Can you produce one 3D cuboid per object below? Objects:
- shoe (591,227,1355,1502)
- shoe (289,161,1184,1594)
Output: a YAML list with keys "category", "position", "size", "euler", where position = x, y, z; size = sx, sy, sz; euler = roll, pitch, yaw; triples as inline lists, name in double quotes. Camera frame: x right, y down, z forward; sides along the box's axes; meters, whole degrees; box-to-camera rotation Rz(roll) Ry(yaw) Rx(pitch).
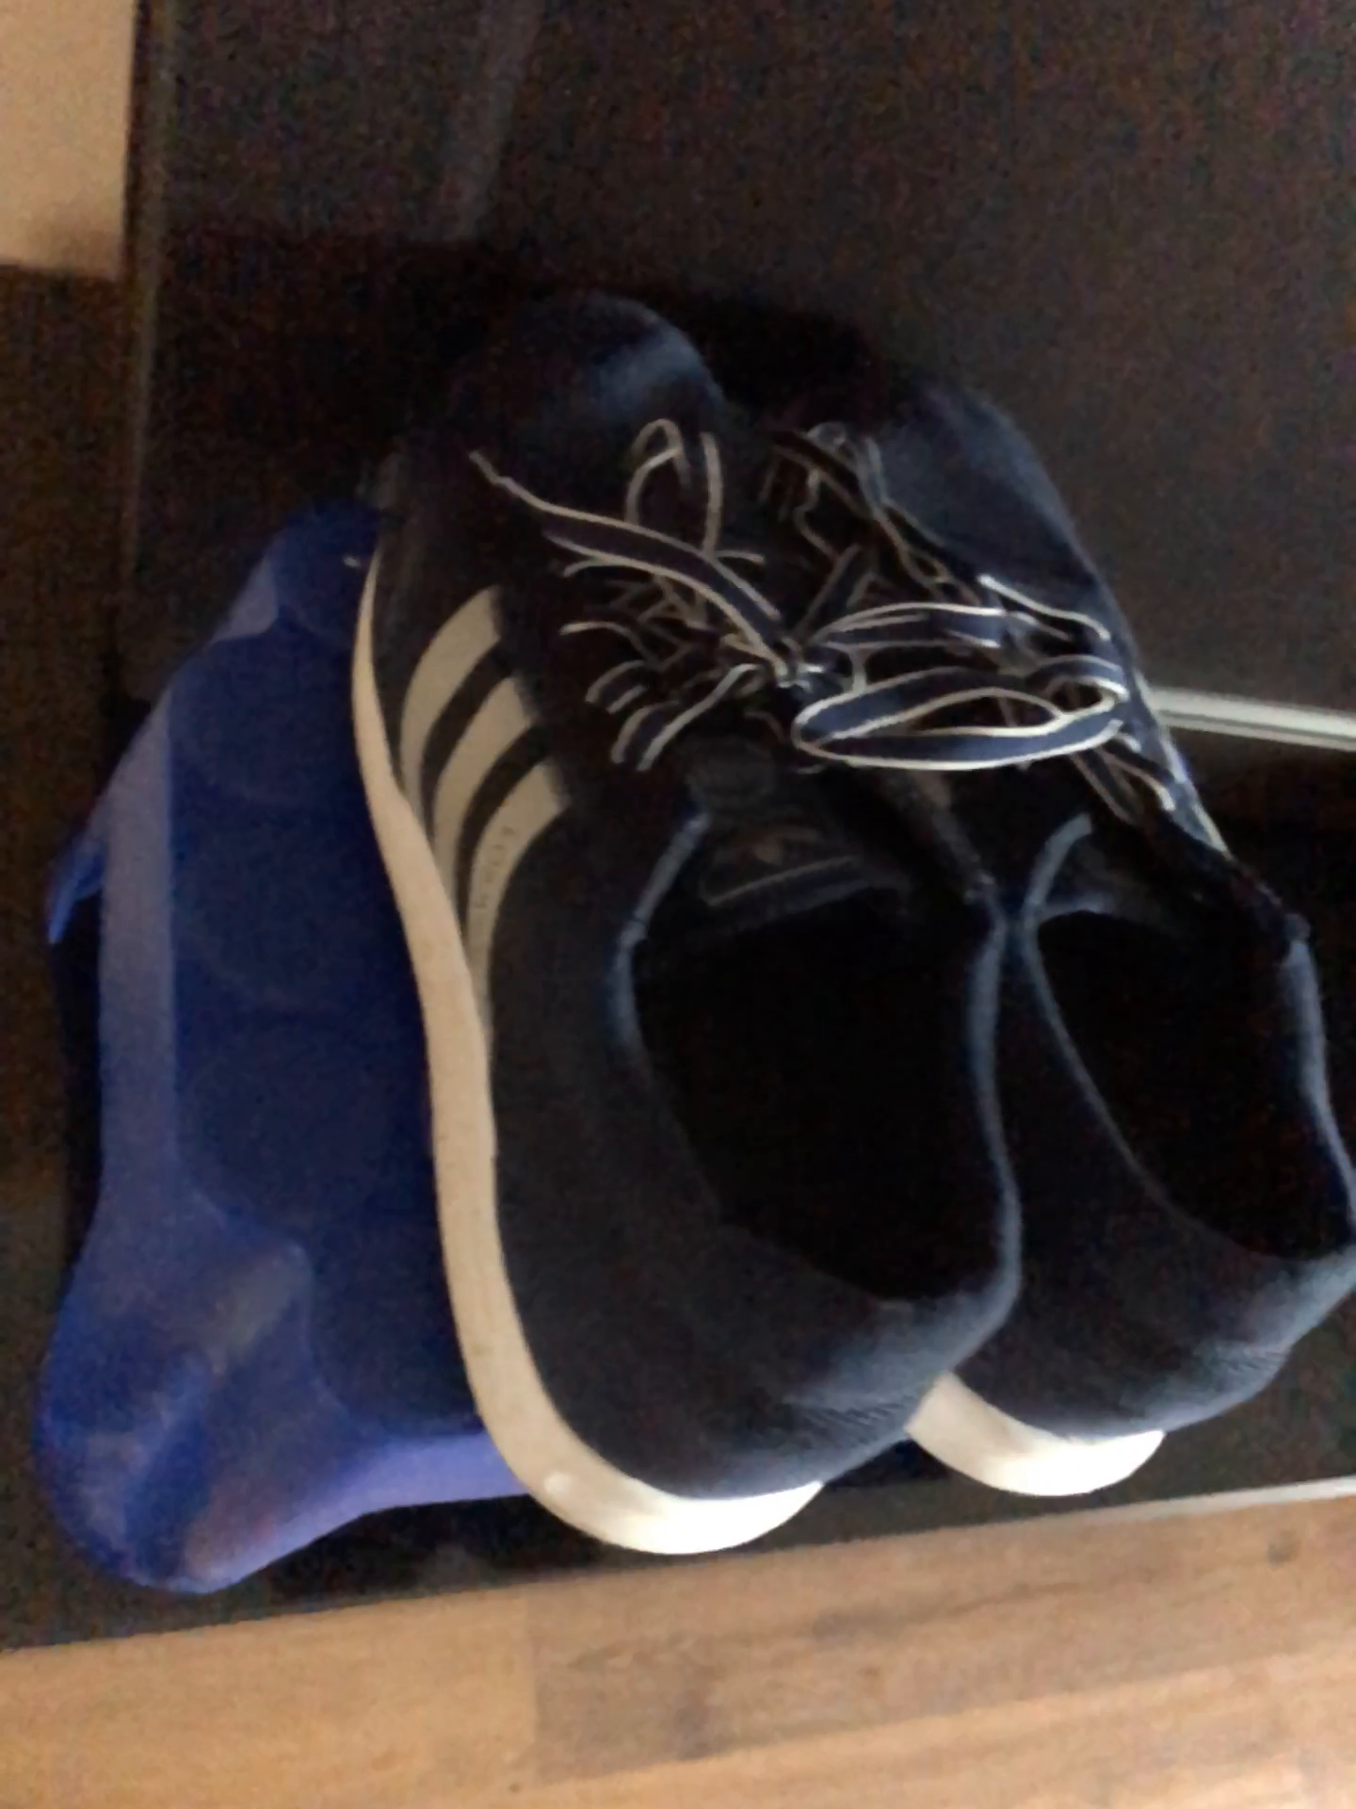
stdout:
- category: "shoe"
  position: [0.061, -0.010, 0.355]
  size: [0.110, 0.109, 0.261]
  euler: [3, 63, -21]
- category: "shoe"
  position: [-0.010, -0.009, 0.319]
  size: [0.110, 0.109, 0.261]
  euler: [0, 64, -23]
